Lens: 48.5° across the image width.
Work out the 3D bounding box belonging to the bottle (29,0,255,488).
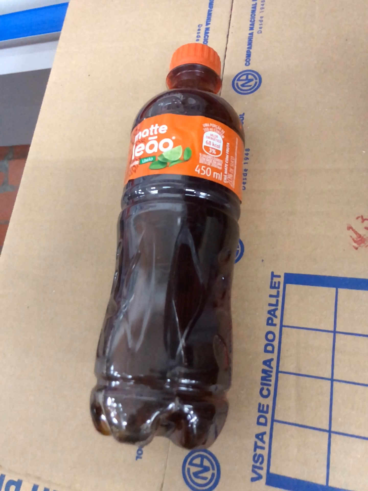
[{"bbox_3d":[-0.007,-0.017,0.203,0.070,0.060,0.220,0,72,16],"label":"bottle"}]
